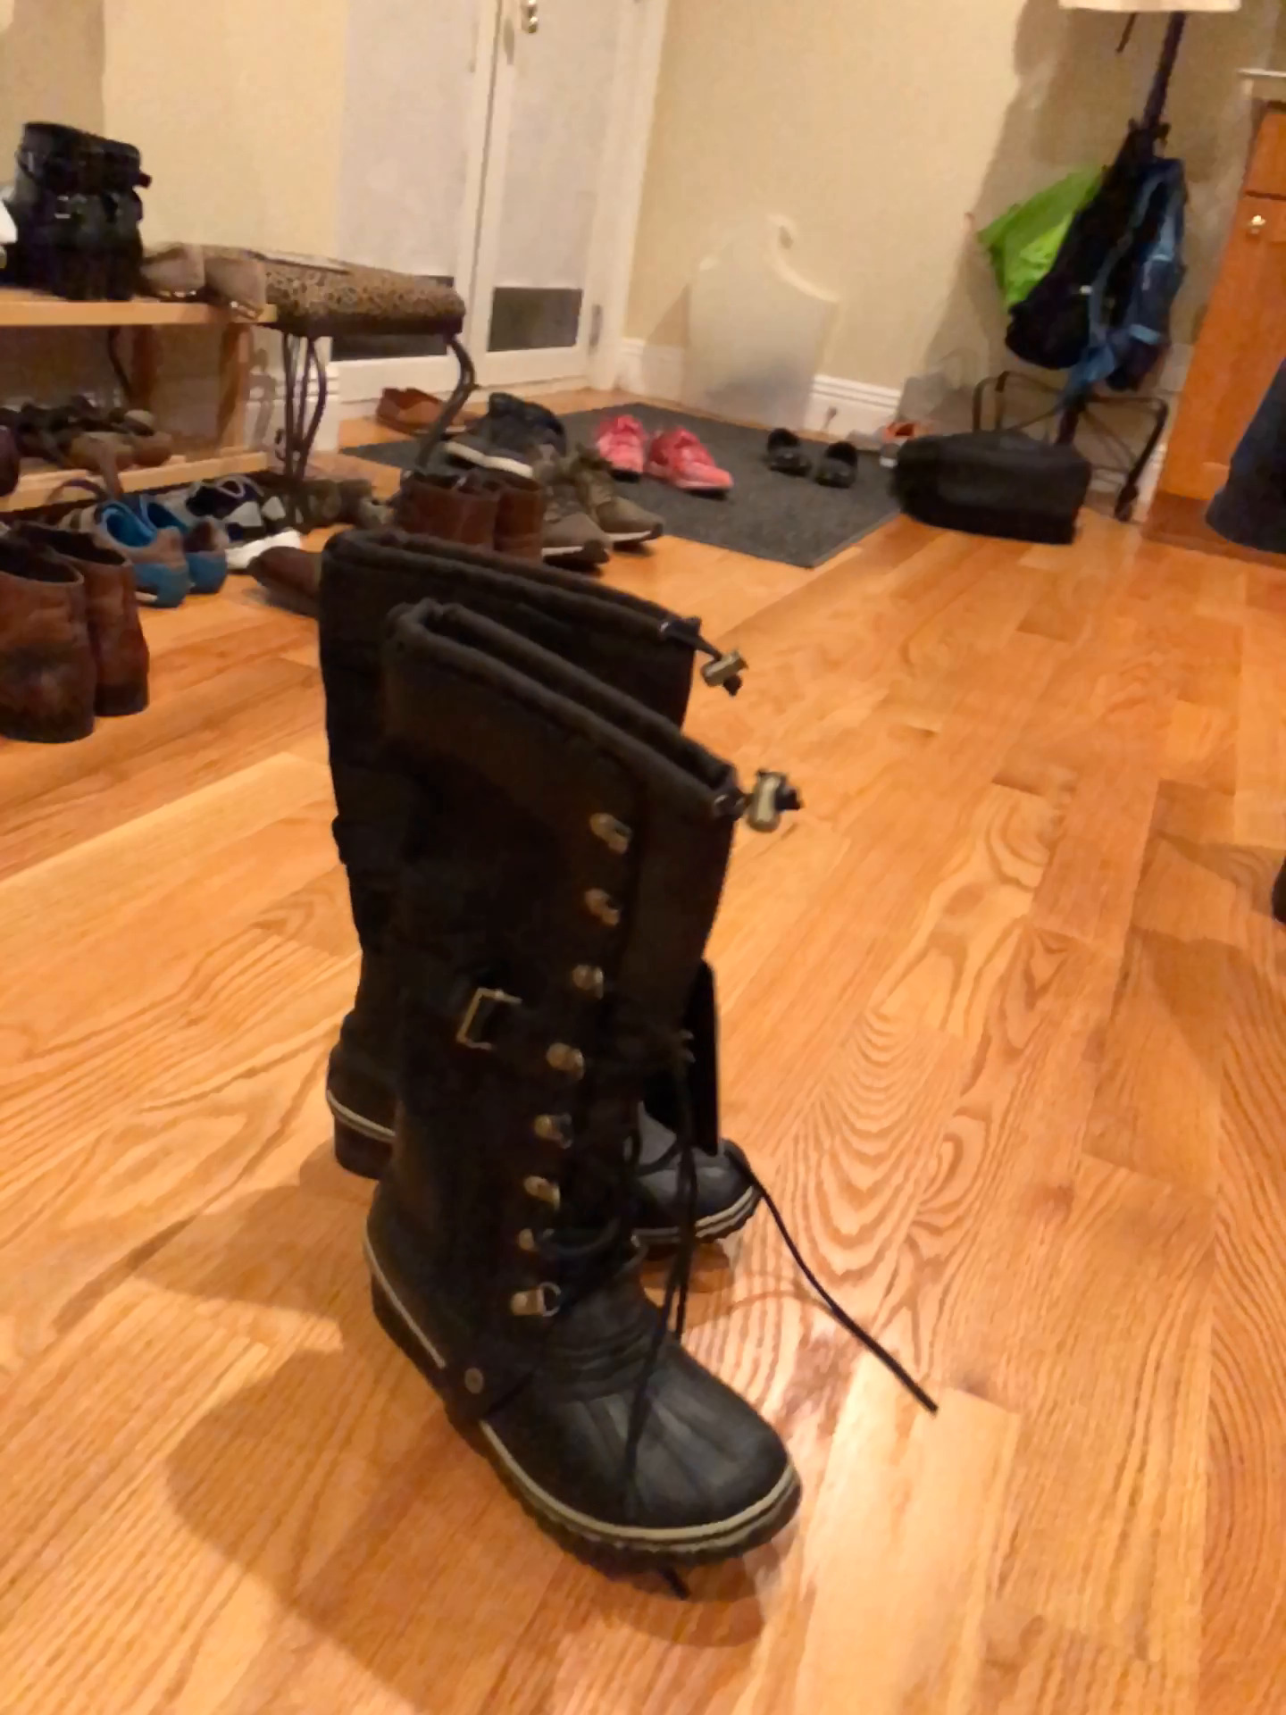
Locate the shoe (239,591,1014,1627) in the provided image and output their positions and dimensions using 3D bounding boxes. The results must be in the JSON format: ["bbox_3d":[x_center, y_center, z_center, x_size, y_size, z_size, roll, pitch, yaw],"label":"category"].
[{"bbox_3d":[-0.031,0.085,0.562,0.260,0.308,0.100,25,28,31],"label":"shoe"}]

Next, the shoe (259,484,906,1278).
[{"bbox_3d":[-0.038,0.013,0.693,0.260,0.328,0.101,12,24,6],"label":"shoe"}]
